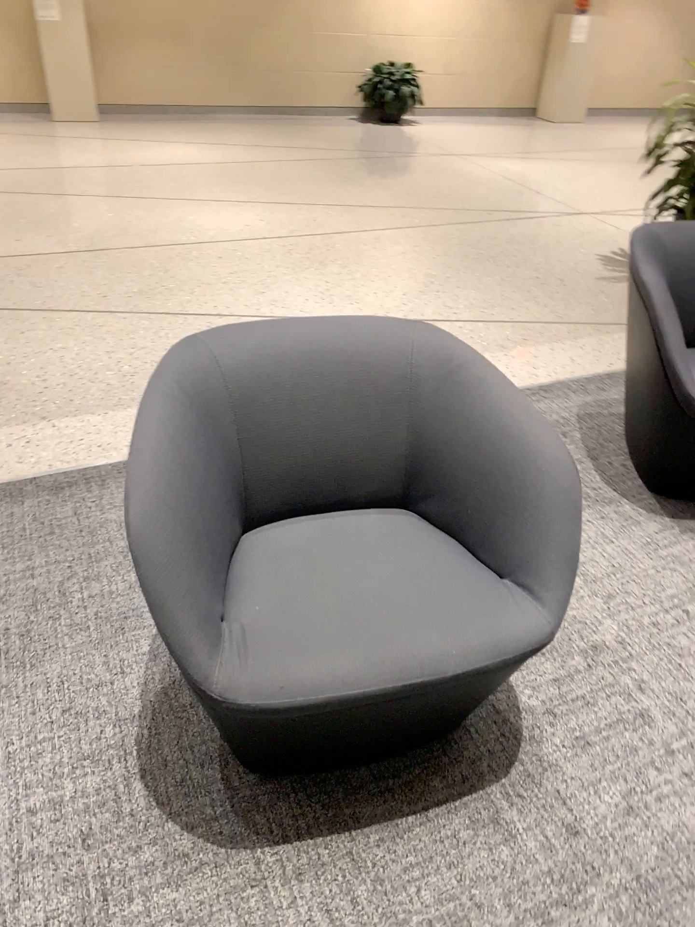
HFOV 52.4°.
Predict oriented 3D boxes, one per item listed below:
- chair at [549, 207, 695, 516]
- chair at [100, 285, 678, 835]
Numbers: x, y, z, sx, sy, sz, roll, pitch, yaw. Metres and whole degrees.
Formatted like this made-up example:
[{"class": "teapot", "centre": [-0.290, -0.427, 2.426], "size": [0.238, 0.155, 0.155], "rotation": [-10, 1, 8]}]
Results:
[{"class": "chair", "centre": [1.148, -0.328, 2.090], "size": [0.768, 0.668, 0.637], "rotation": [-2, 34, -9]}, {"class": "chair", "centre": [-0.005, 0.112, 1.340], "size": [0.779, 0.658, 0.636], "rotation": [-8, 35, -16]}]
